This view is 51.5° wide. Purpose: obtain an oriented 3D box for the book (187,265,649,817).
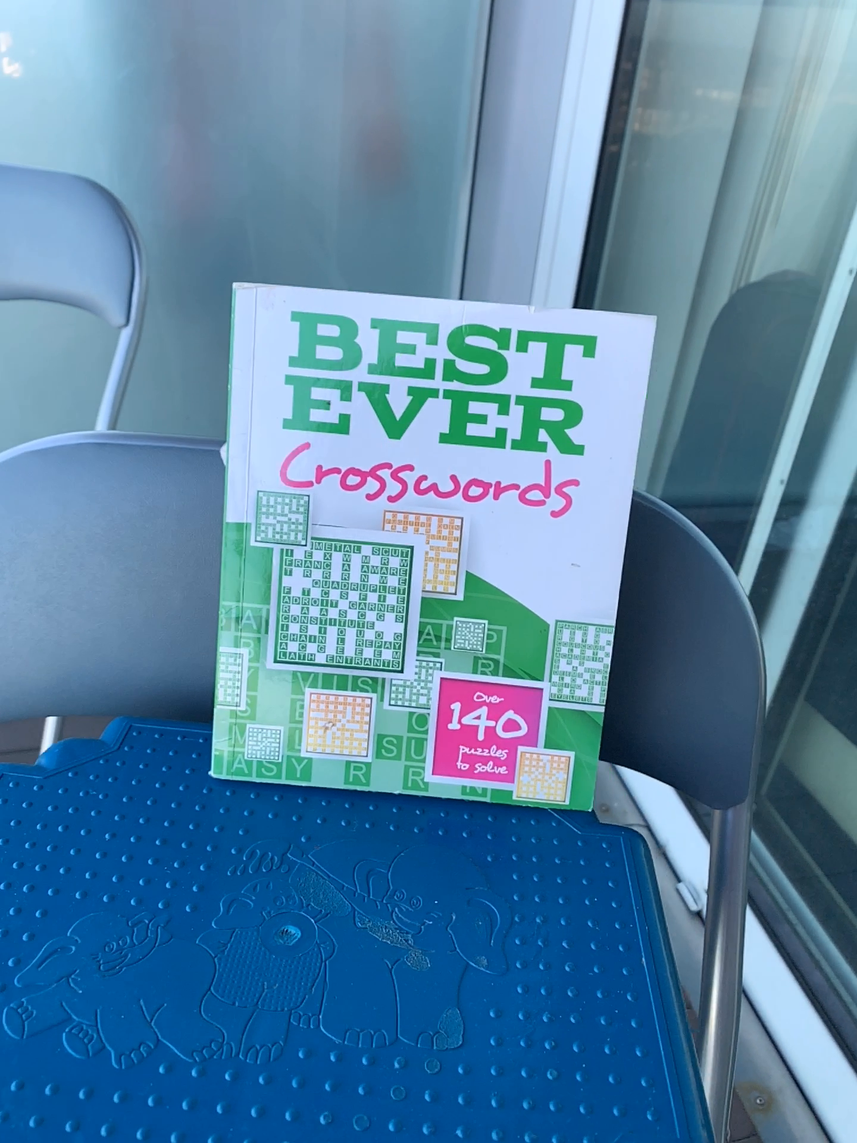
[{"bbox_3d":[-0.008,-0.008,0.348,0.157,0.196,0.030,5,10,-1],"label":"book"}]
